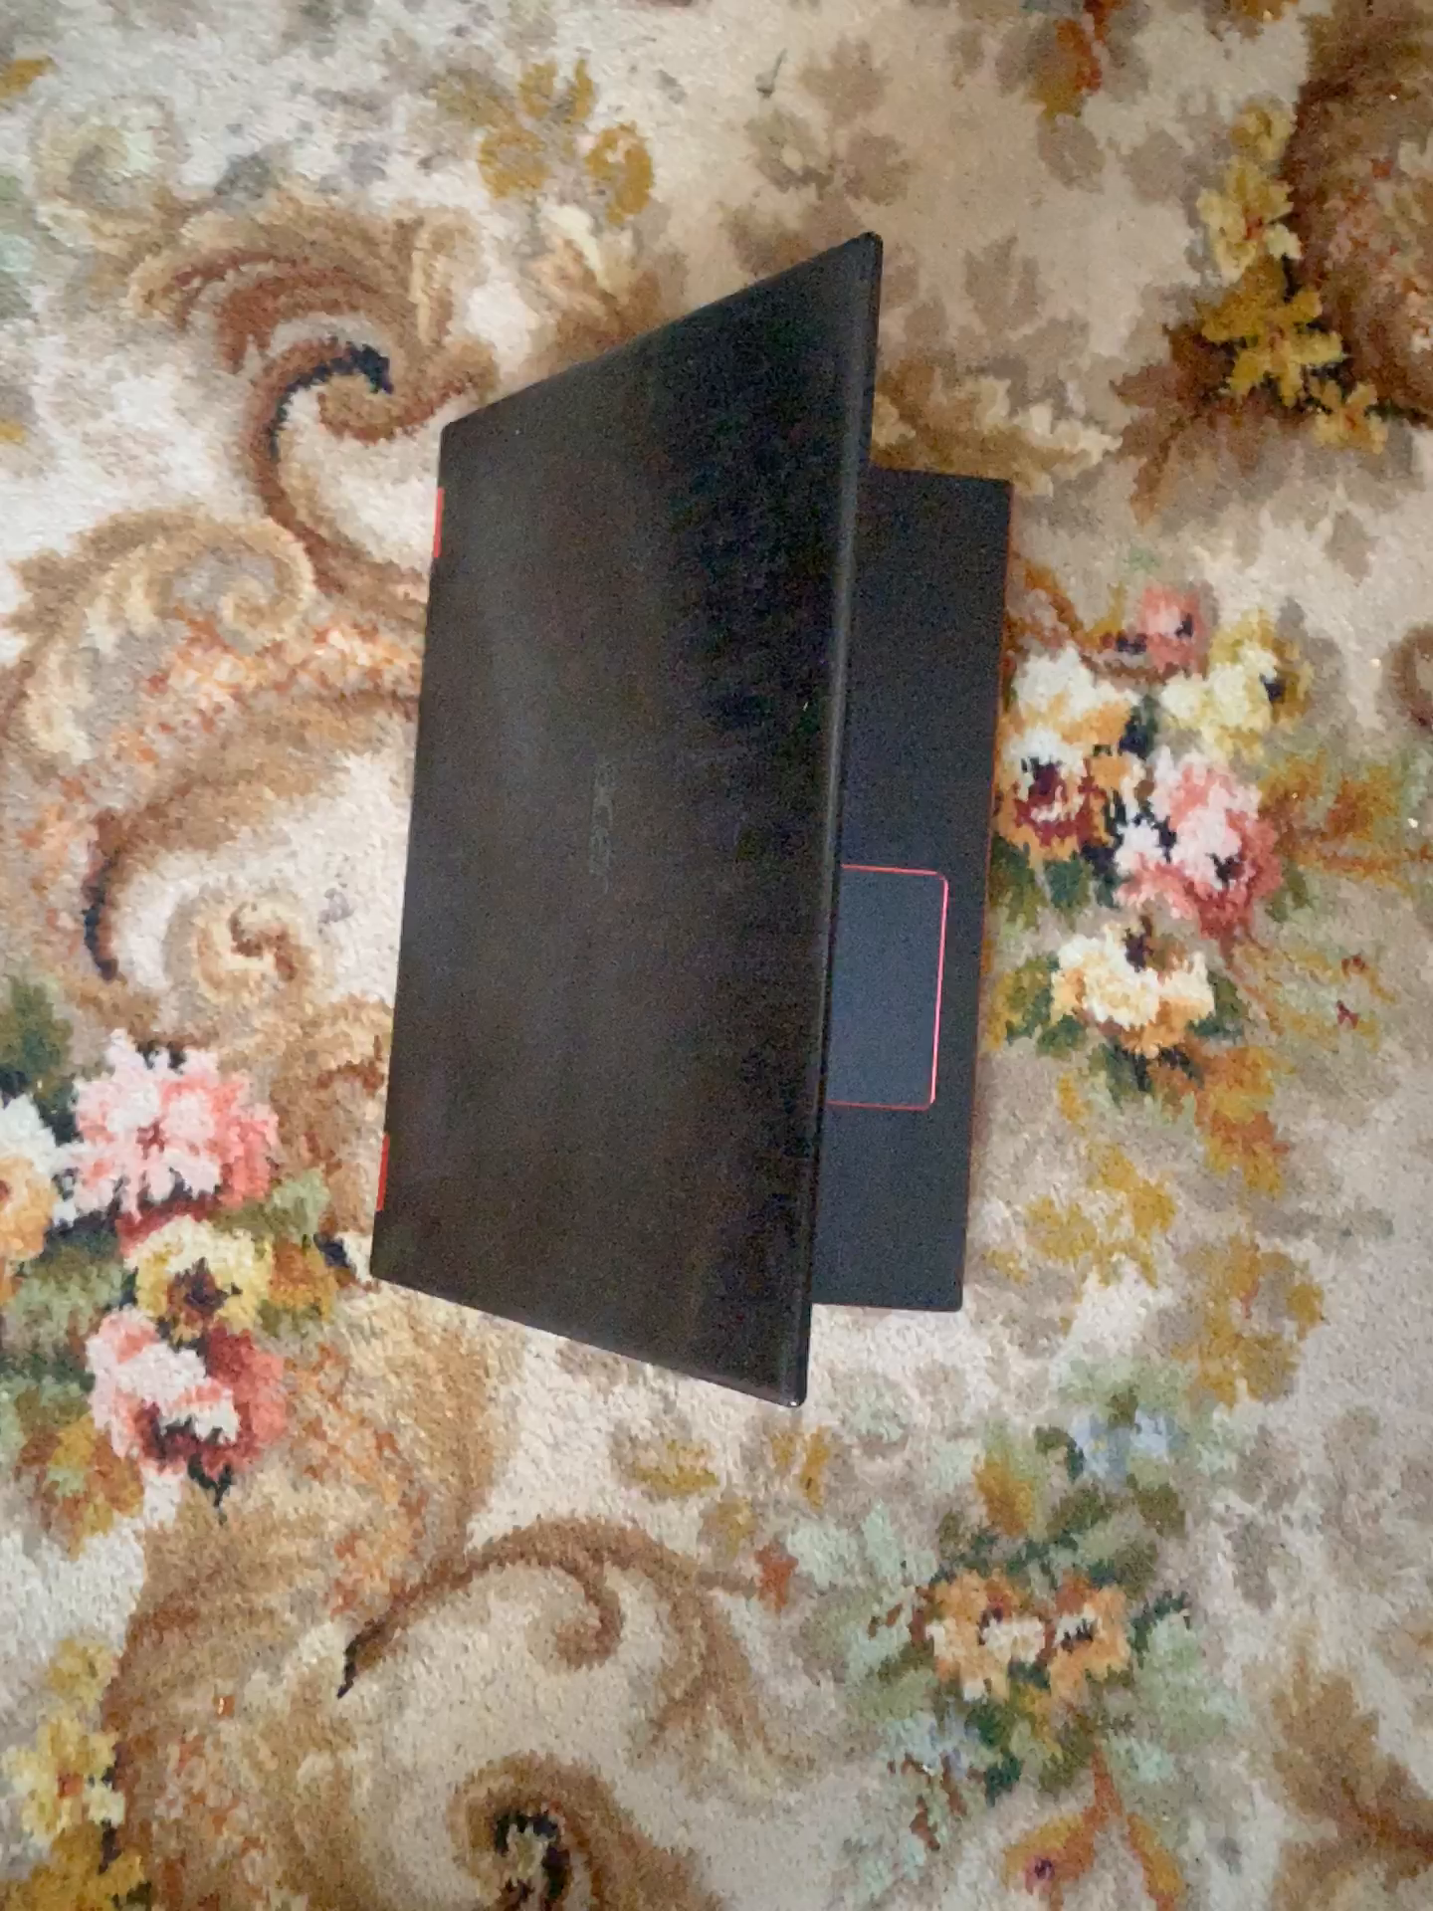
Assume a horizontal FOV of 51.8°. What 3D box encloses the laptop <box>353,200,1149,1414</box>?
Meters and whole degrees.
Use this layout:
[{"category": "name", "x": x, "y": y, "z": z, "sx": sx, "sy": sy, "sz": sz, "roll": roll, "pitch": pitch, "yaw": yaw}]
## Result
[{"category": "laptop", "x": 0.011, "y": -0.041, "z": 0.541, "sx": 0.224, "sy": 0.173, "sz": 0.356, "roll": 5, "pitch": 87, "yaw": -5}]
